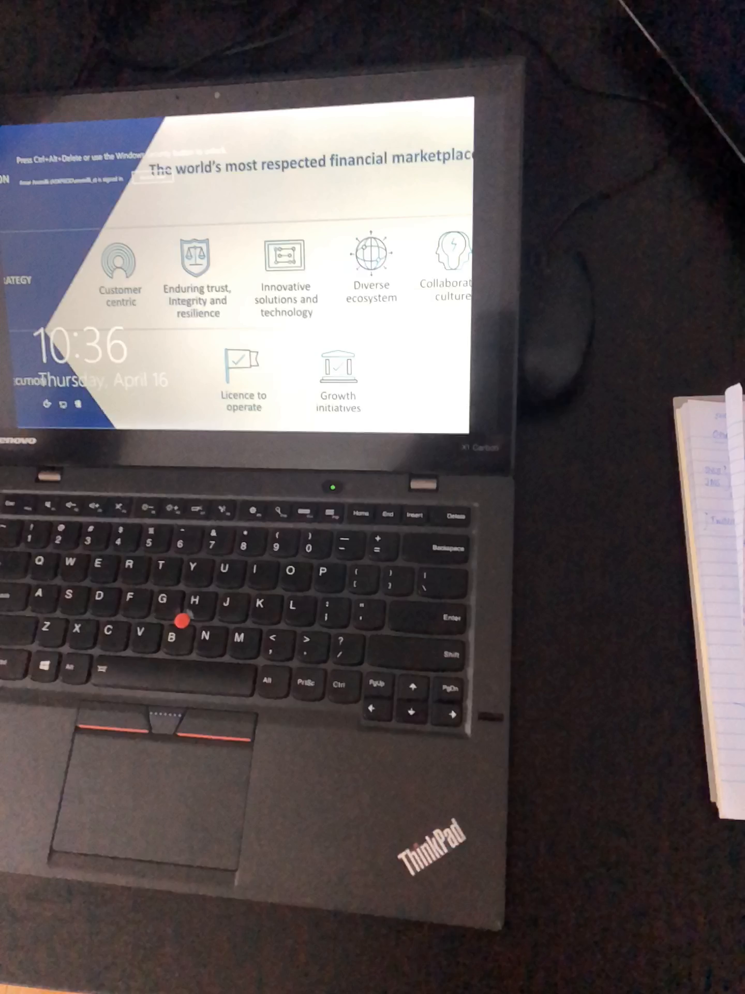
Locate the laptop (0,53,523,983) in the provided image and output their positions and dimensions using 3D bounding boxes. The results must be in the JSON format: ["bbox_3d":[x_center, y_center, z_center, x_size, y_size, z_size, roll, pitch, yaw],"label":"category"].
[{"bbox_3d":[-0.093,-0.014,0.408,0.322,0.117,0.388,2,70,10],"label":"laptop"}]
